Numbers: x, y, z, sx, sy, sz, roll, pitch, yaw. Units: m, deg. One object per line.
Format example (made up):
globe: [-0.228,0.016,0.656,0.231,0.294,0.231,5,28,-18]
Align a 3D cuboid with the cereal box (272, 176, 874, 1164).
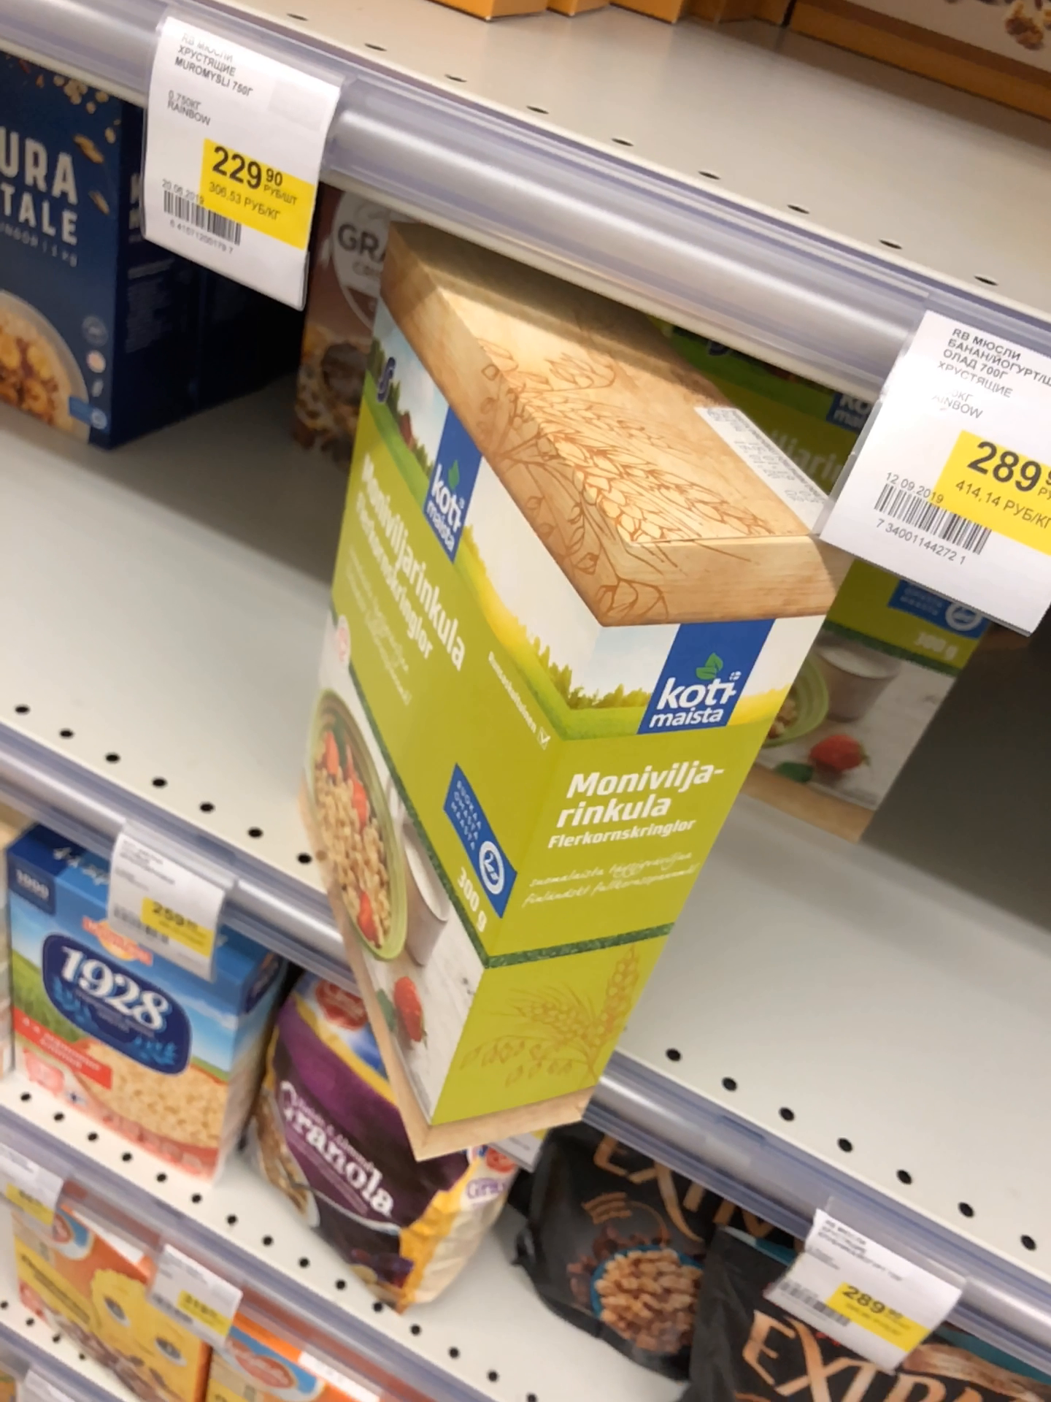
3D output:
cereal box: [-0.017,-0.006,0.395,0.070,0.258,0.191,-3,42,-25]
